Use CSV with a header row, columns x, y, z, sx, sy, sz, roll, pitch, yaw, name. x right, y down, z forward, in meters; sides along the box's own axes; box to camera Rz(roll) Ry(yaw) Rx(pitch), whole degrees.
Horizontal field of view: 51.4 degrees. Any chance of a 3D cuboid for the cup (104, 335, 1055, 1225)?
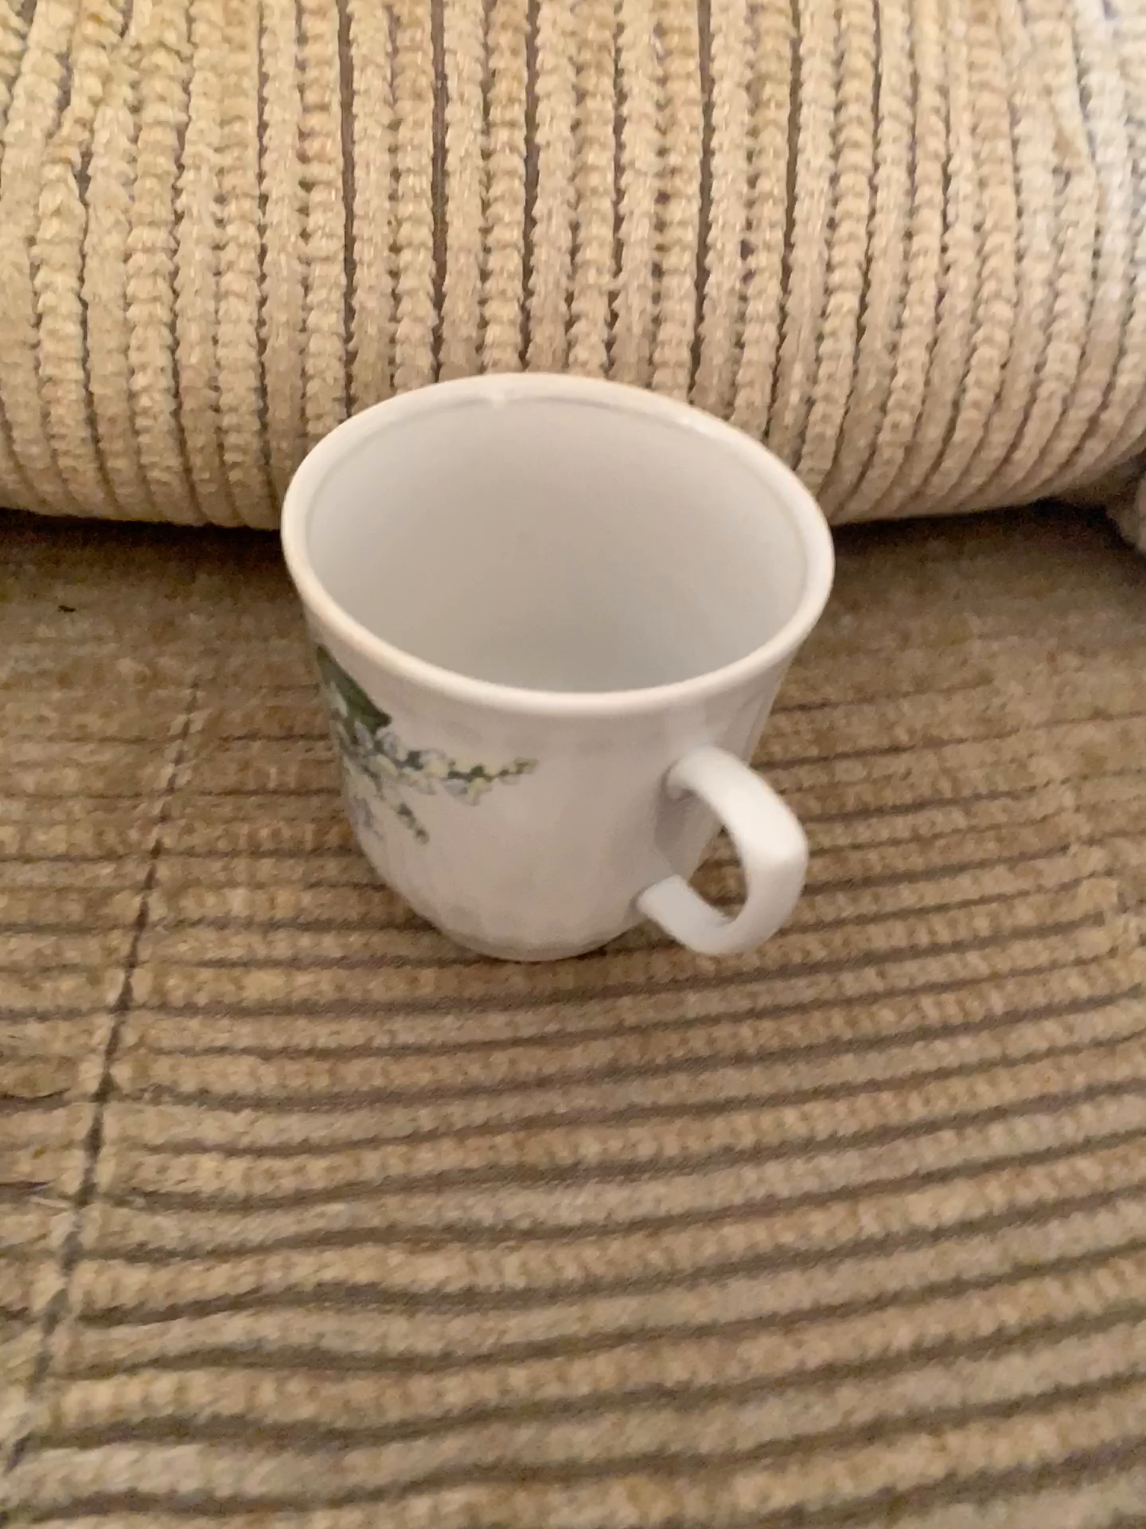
x,y,z,sx,sy,sz,roll,pitch,yaw,name
-0.002,-0.009,0.208,0.096,0.077,0.113,-31,51,-34,cup
